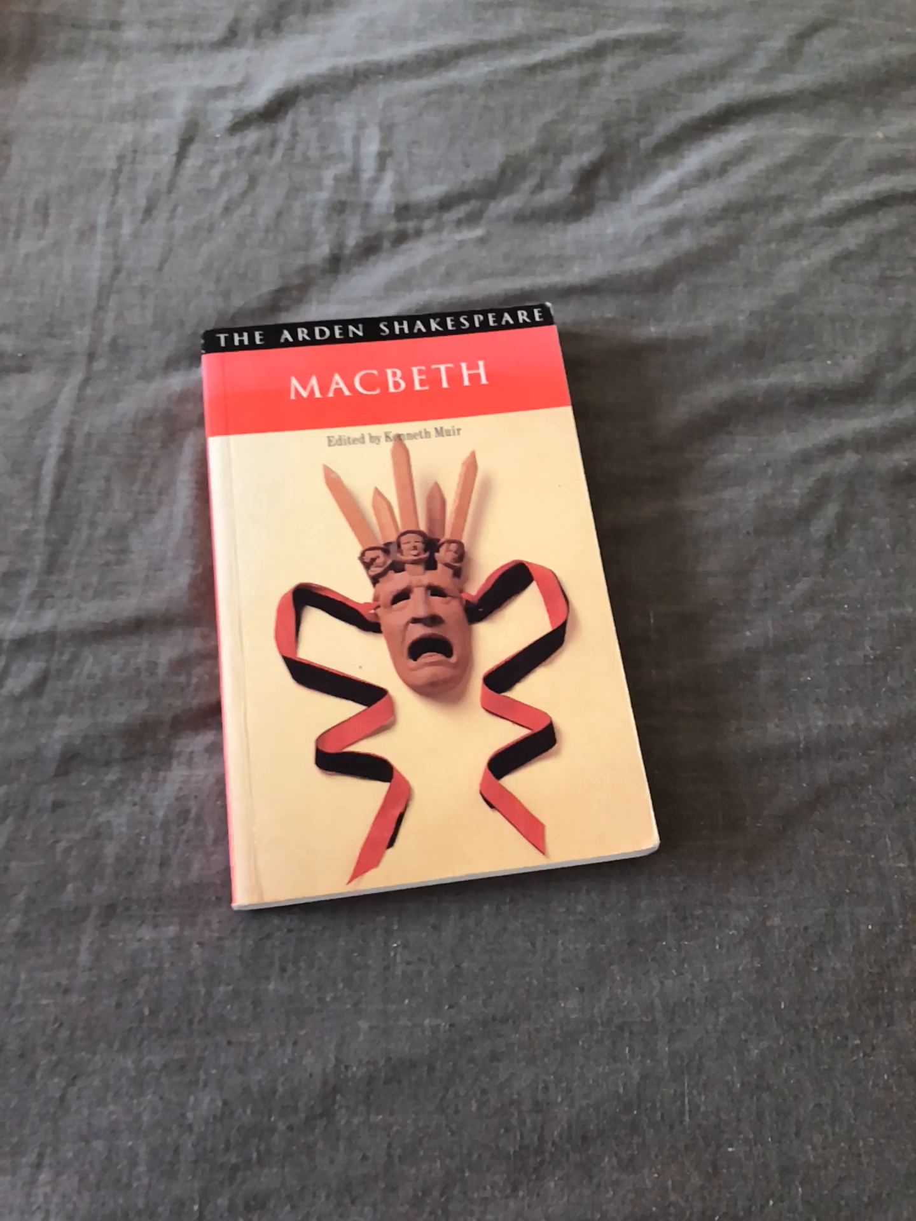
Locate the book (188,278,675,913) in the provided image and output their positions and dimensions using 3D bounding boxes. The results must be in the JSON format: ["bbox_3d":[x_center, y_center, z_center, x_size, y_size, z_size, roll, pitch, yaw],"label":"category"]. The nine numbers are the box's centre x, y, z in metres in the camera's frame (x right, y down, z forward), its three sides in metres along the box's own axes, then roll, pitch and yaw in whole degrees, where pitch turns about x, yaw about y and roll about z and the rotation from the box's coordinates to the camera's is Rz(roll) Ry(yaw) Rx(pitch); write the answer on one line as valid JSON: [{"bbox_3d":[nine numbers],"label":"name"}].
[{"bbox_3d":[-0.016,-0.015,0.328,0.130,0.020,0.200,-6,68,-4],"label":"book"}]
